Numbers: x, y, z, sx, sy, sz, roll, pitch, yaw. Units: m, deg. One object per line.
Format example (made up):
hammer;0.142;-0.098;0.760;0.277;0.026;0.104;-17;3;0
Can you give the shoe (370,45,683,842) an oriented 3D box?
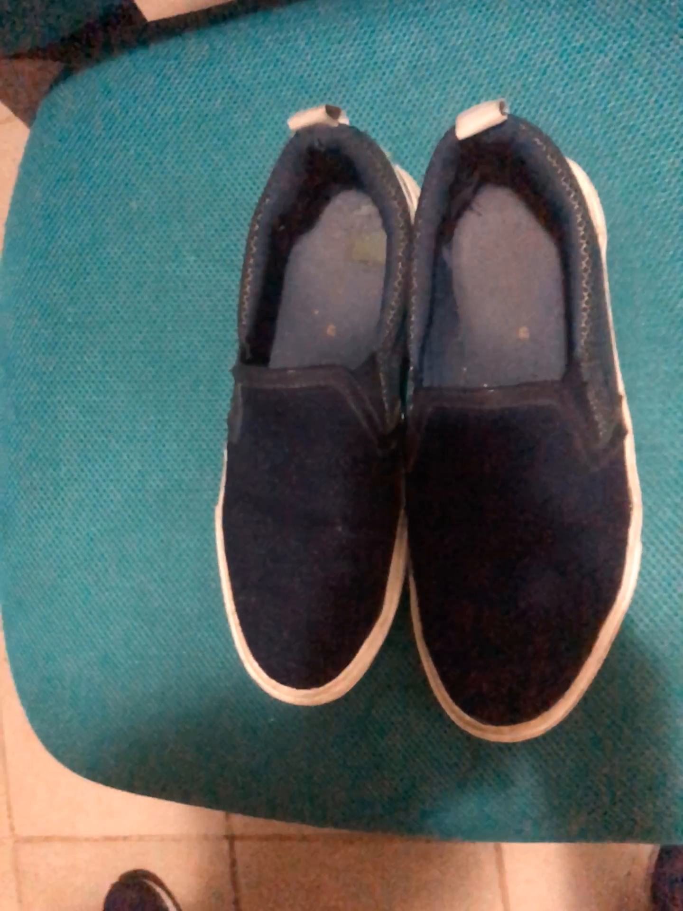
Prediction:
shoe;0.086;-0.004;0.345;0.120;0.110;0.290;-1;88;16

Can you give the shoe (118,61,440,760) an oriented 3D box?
shoe;-0.023;-0.020;0.383;0.120;0.110;0.290;2;89;16
